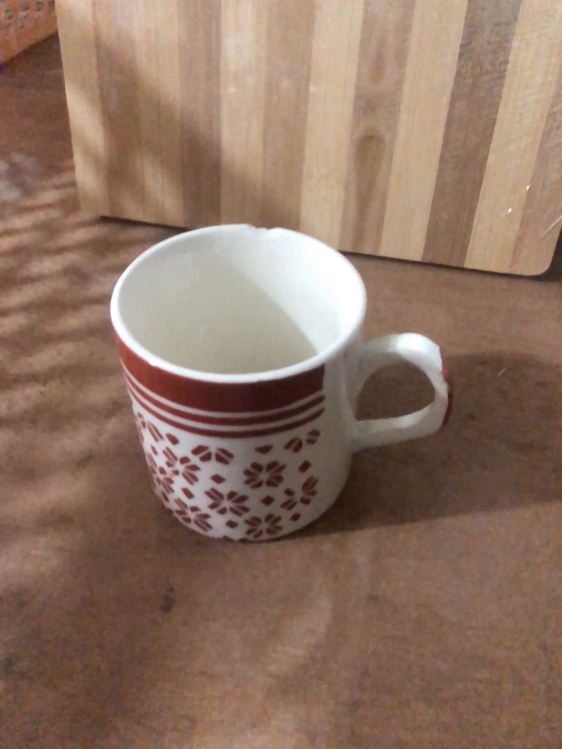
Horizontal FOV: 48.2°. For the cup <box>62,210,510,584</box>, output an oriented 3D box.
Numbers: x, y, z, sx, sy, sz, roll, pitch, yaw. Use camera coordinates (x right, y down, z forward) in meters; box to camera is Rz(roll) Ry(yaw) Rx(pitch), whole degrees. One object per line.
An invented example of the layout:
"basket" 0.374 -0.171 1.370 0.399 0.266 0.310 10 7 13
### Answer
"cup" 0.004 0.007 0.175 0.090 0.080 0.060 3 45 5
